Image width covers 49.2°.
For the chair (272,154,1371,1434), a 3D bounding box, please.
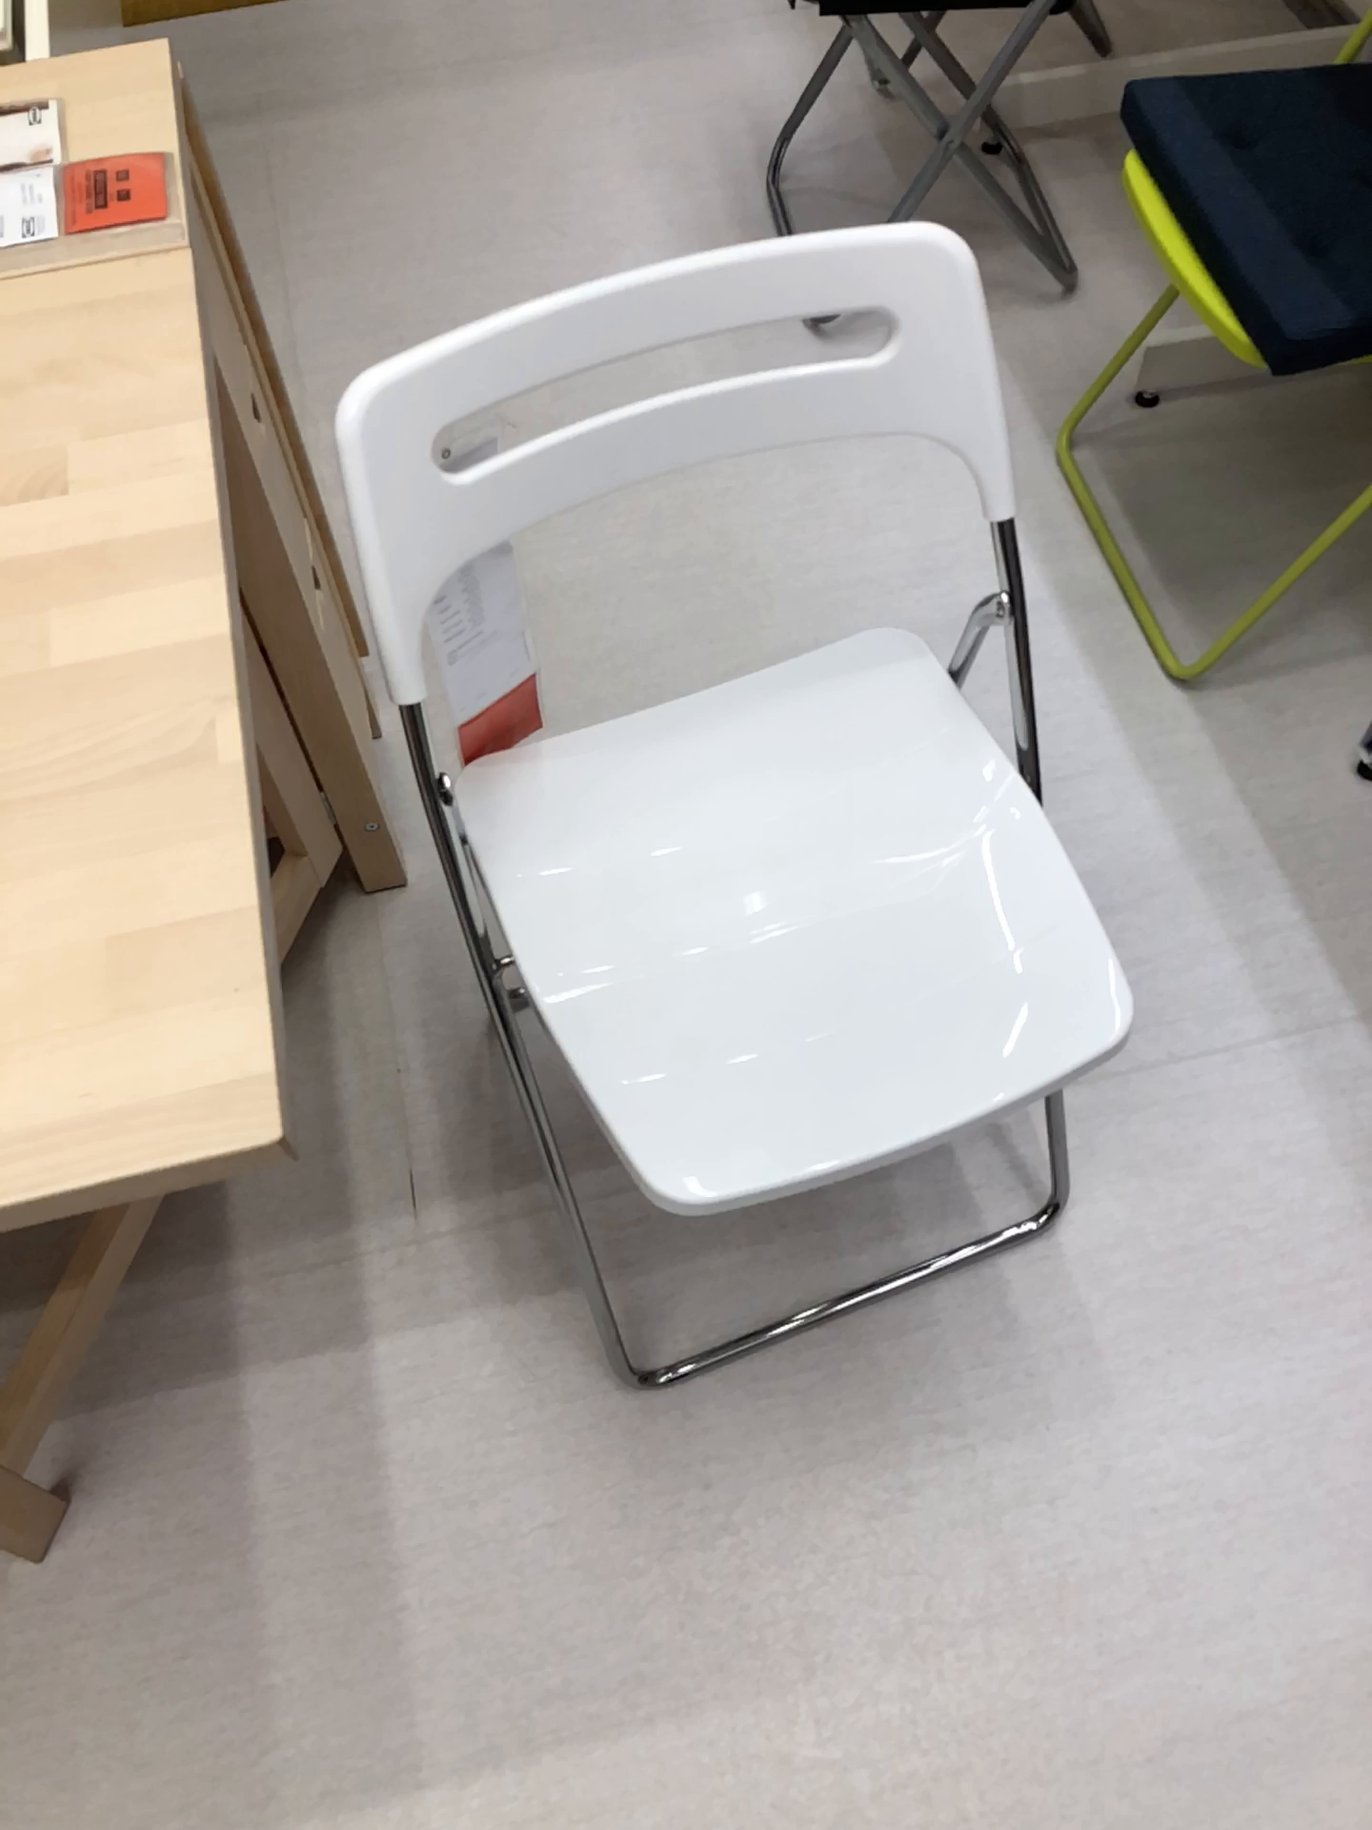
[{"bbox_3d":[0.073,-0.016,1.031,0.440,0.717,0.422,-19,59,-9],"label":"chair"}]
